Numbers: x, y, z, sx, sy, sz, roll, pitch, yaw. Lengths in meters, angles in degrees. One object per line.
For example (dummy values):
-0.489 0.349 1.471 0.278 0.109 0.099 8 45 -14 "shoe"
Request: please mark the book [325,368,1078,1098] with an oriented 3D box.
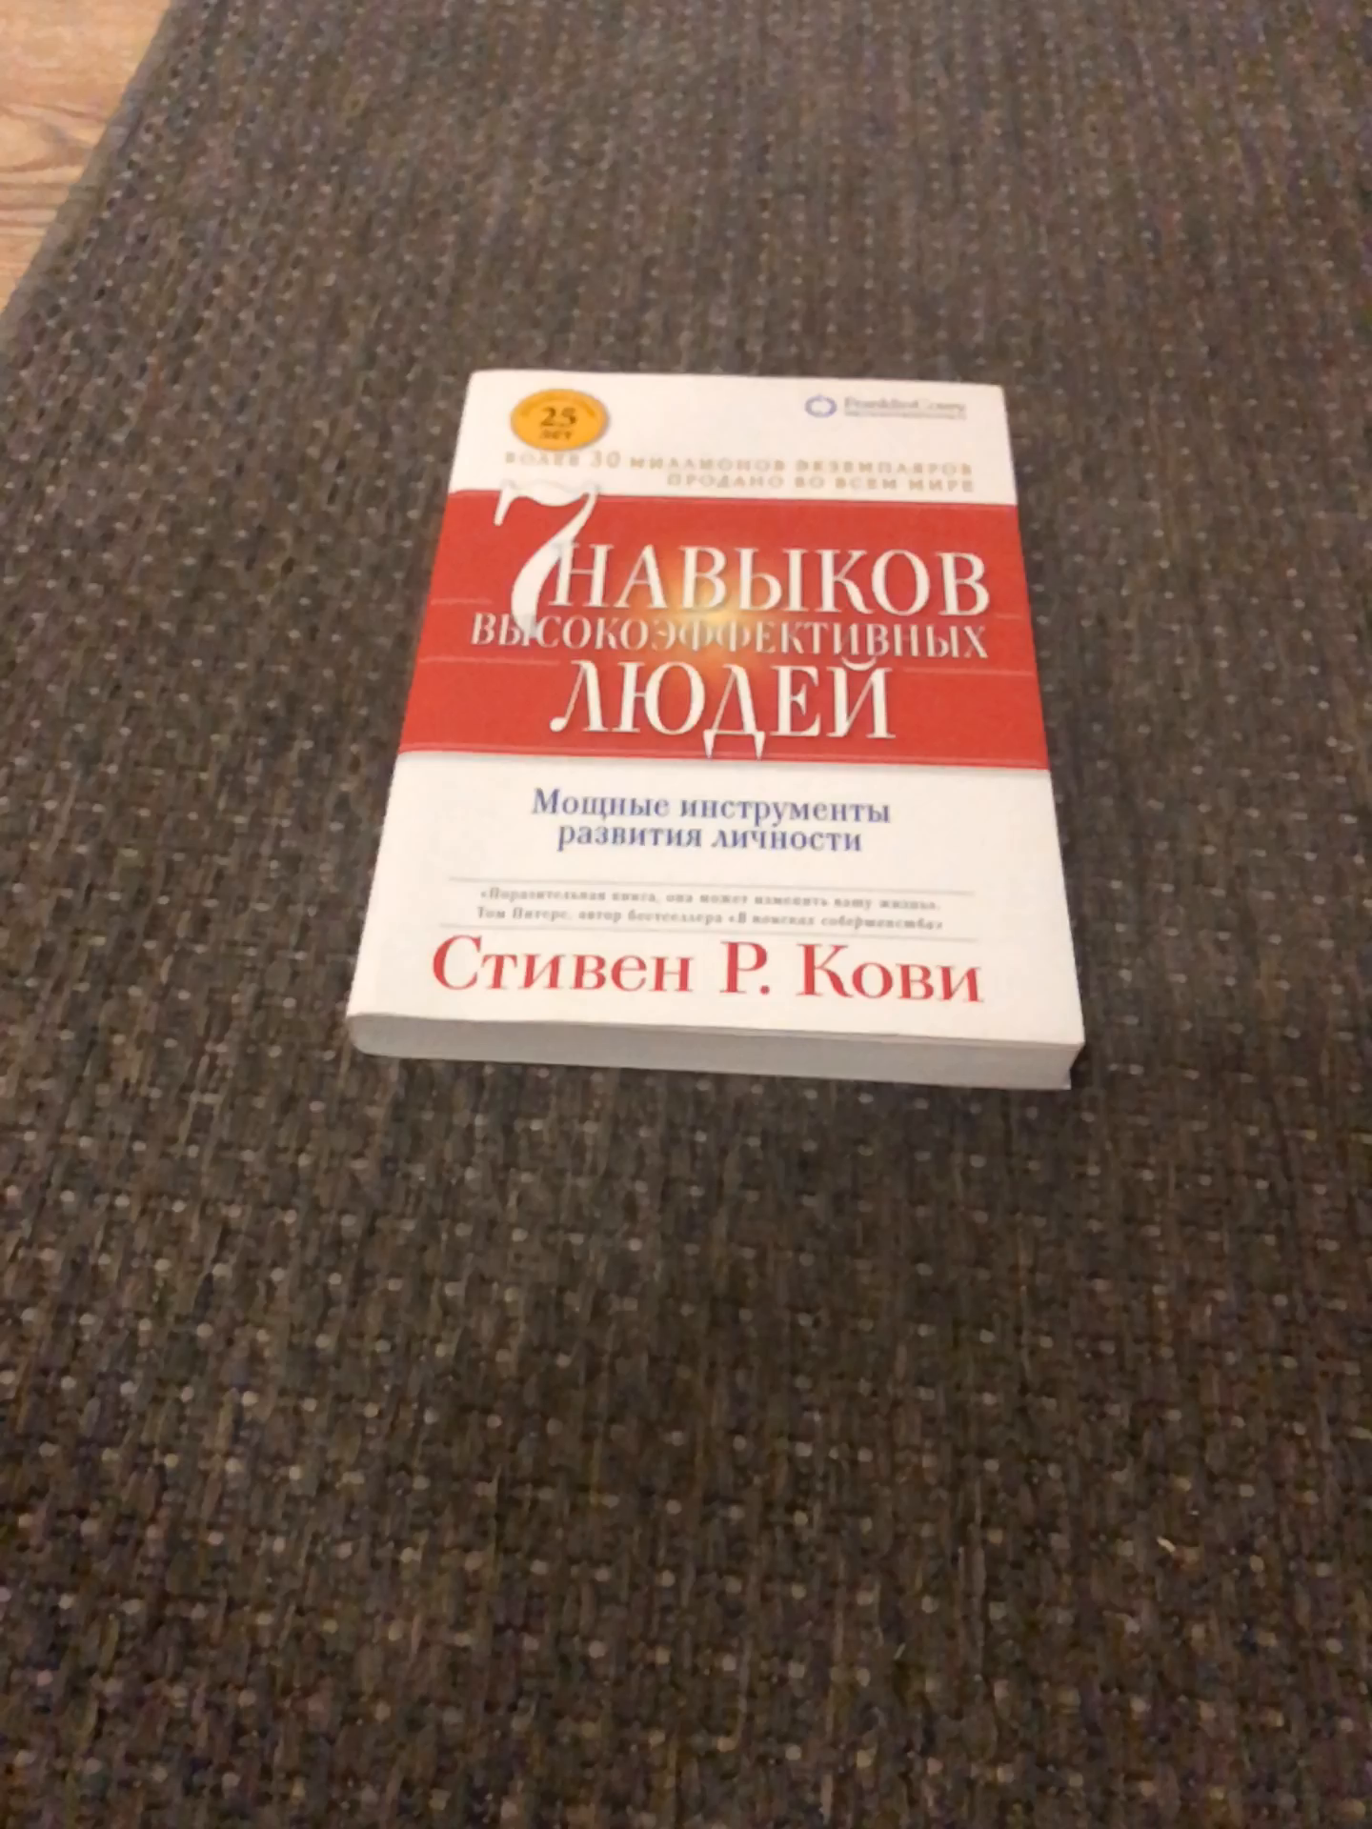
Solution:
0.010 -0.064 0.412 0.166 0.020 0.237 2 55 3 "book"
